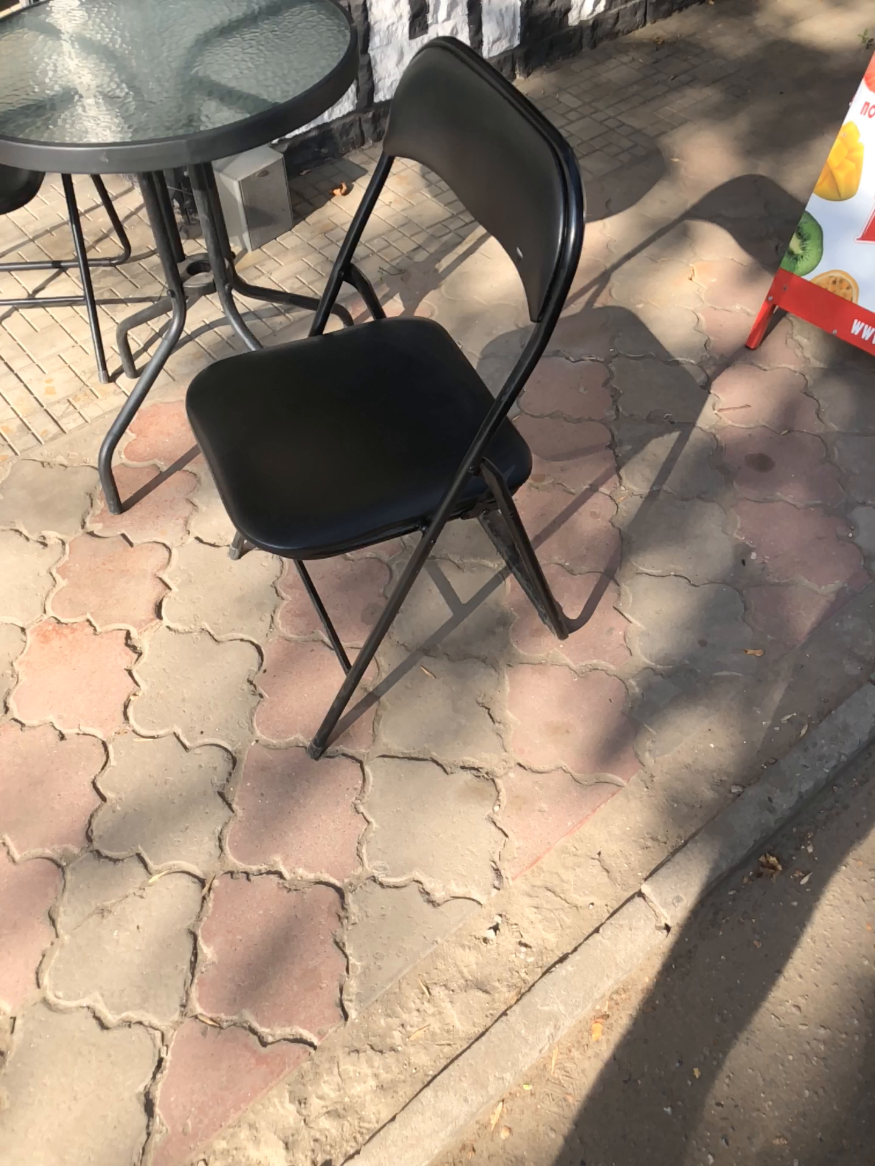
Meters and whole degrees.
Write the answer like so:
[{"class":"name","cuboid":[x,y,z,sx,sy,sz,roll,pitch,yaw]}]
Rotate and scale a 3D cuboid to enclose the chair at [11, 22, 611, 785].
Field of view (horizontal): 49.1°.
[{"class":"chair","cuboid":[-0.162,-0.260,1.450,0.570,0.837,0.582,-20,47,-14]}]
